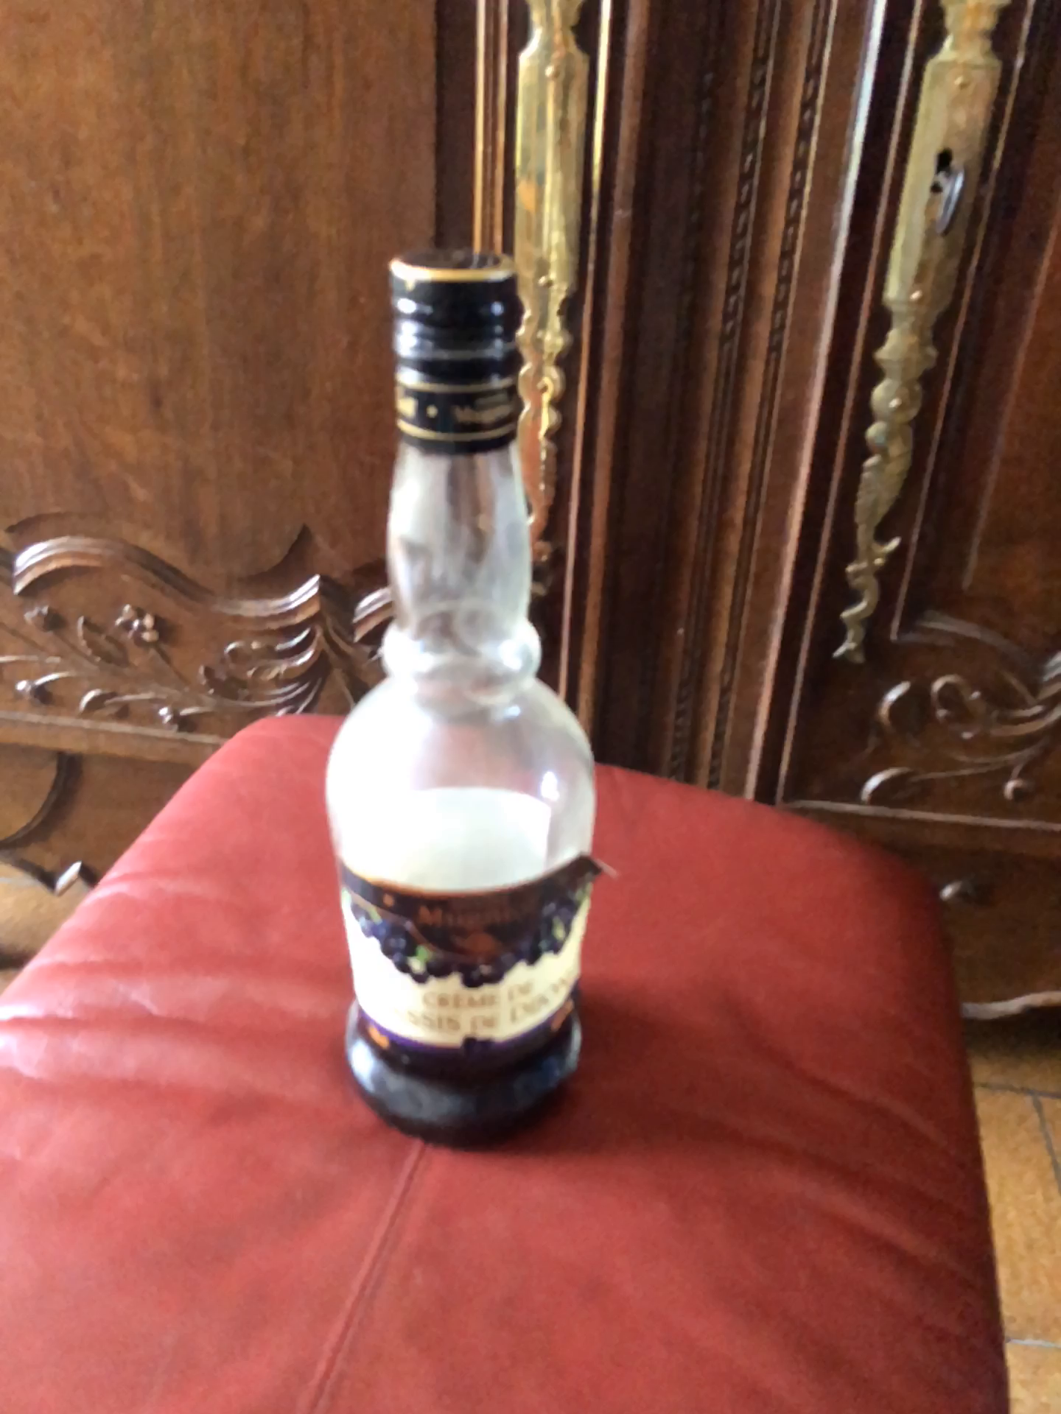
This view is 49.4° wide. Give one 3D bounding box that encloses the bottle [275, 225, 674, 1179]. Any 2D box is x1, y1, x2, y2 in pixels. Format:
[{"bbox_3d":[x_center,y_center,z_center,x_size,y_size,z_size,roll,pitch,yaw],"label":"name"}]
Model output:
[{"bbox_3d":[-0.022,0.011,0.348,0.080,0.278,0.080,2,31,-1],"label":"bottle"}]
